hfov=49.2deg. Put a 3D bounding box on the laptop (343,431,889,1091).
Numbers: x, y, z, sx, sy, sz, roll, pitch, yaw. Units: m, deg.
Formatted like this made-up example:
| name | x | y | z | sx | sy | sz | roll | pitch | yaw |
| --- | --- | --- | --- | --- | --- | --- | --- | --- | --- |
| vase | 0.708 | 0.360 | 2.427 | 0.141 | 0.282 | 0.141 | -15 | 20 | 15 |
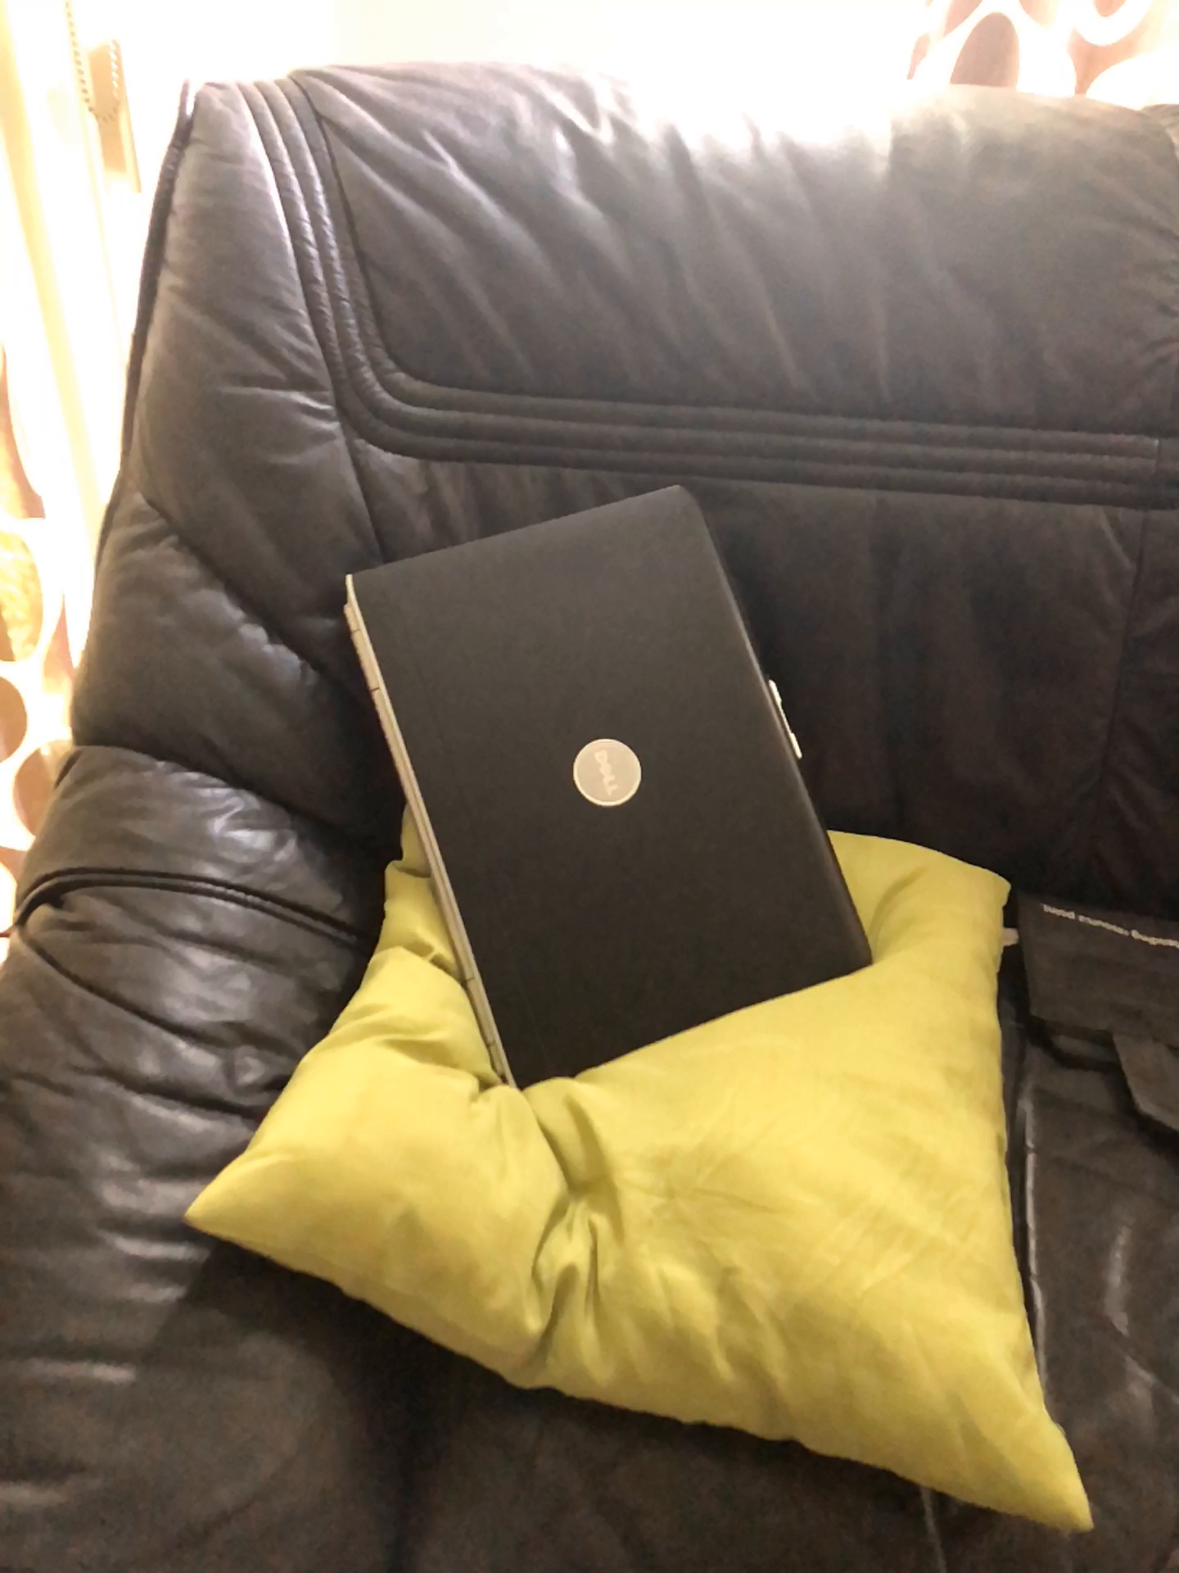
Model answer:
| name | x | y | z | sx | sy | sz | roll | pitch | yaw |
| --- | --- | --- | --- | --- | --- | --- | --- | --- | --- |
| laptop | 0.014 | -0.026 | 0.826 | 0.247 | 0.033 | 0.345 | -17 | 80 | -11 |
